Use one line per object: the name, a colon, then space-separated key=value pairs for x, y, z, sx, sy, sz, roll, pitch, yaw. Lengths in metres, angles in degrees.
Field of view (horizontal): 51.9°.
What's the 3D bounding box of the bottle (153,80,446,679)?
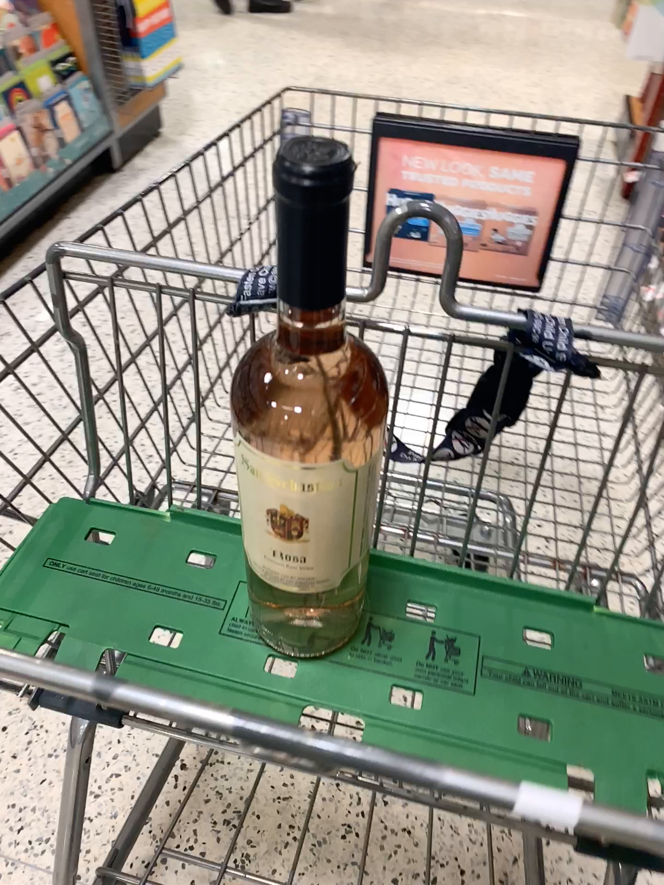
bottle: x=-0.011 y=0.000 z=0.356 sx=0.083 sy=0.315 sz=0.087 roll=1 pitch=45 yaw=-1
